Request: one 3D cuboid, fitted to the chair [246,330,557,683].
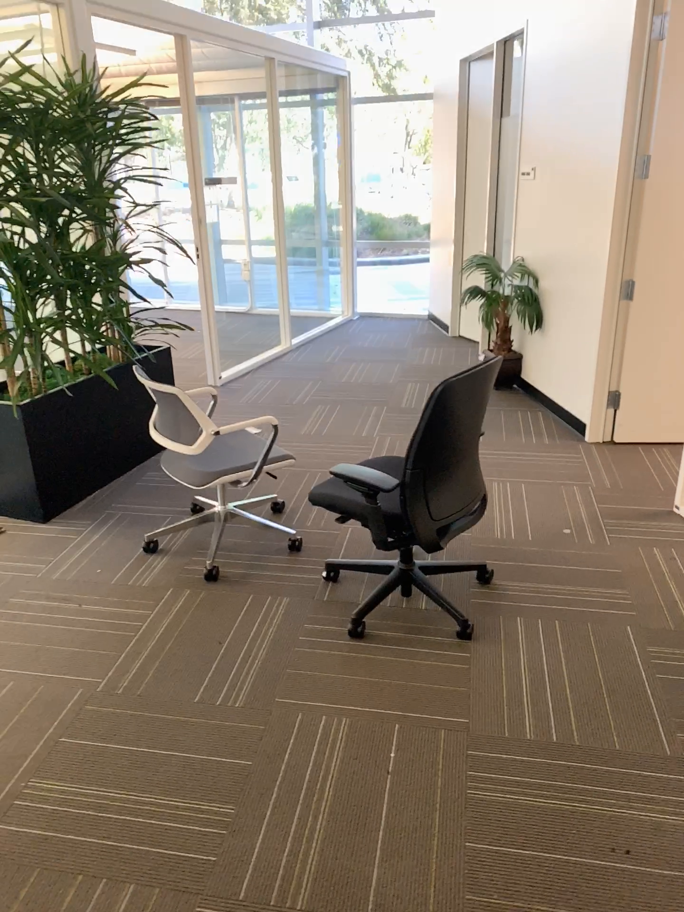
[{"bbox_3d":[0.221,0.100,2.542,0.743,0.885,0.771,17,28,38],"label":"chair"}]

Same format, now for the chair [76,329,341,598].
[{"bbox_3d":[-0.569,-0.040,3.066,0.740,0.796,0.844,-19,28,-37],"label":"chair"}]
